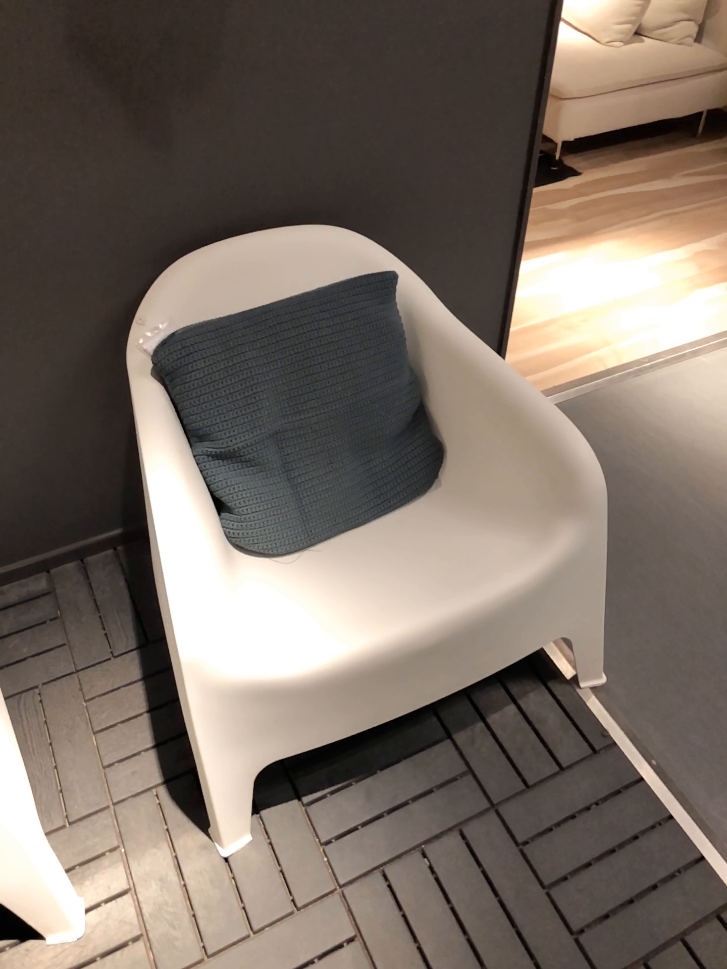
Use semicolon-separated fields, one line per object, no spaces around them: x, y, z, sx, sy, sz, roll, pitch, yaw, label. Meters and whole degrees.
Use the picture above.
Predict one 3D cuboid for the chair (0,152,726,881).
-0.051;-0.002;1.426;0.831;0.765;0.784;-19;47;-20;chair
